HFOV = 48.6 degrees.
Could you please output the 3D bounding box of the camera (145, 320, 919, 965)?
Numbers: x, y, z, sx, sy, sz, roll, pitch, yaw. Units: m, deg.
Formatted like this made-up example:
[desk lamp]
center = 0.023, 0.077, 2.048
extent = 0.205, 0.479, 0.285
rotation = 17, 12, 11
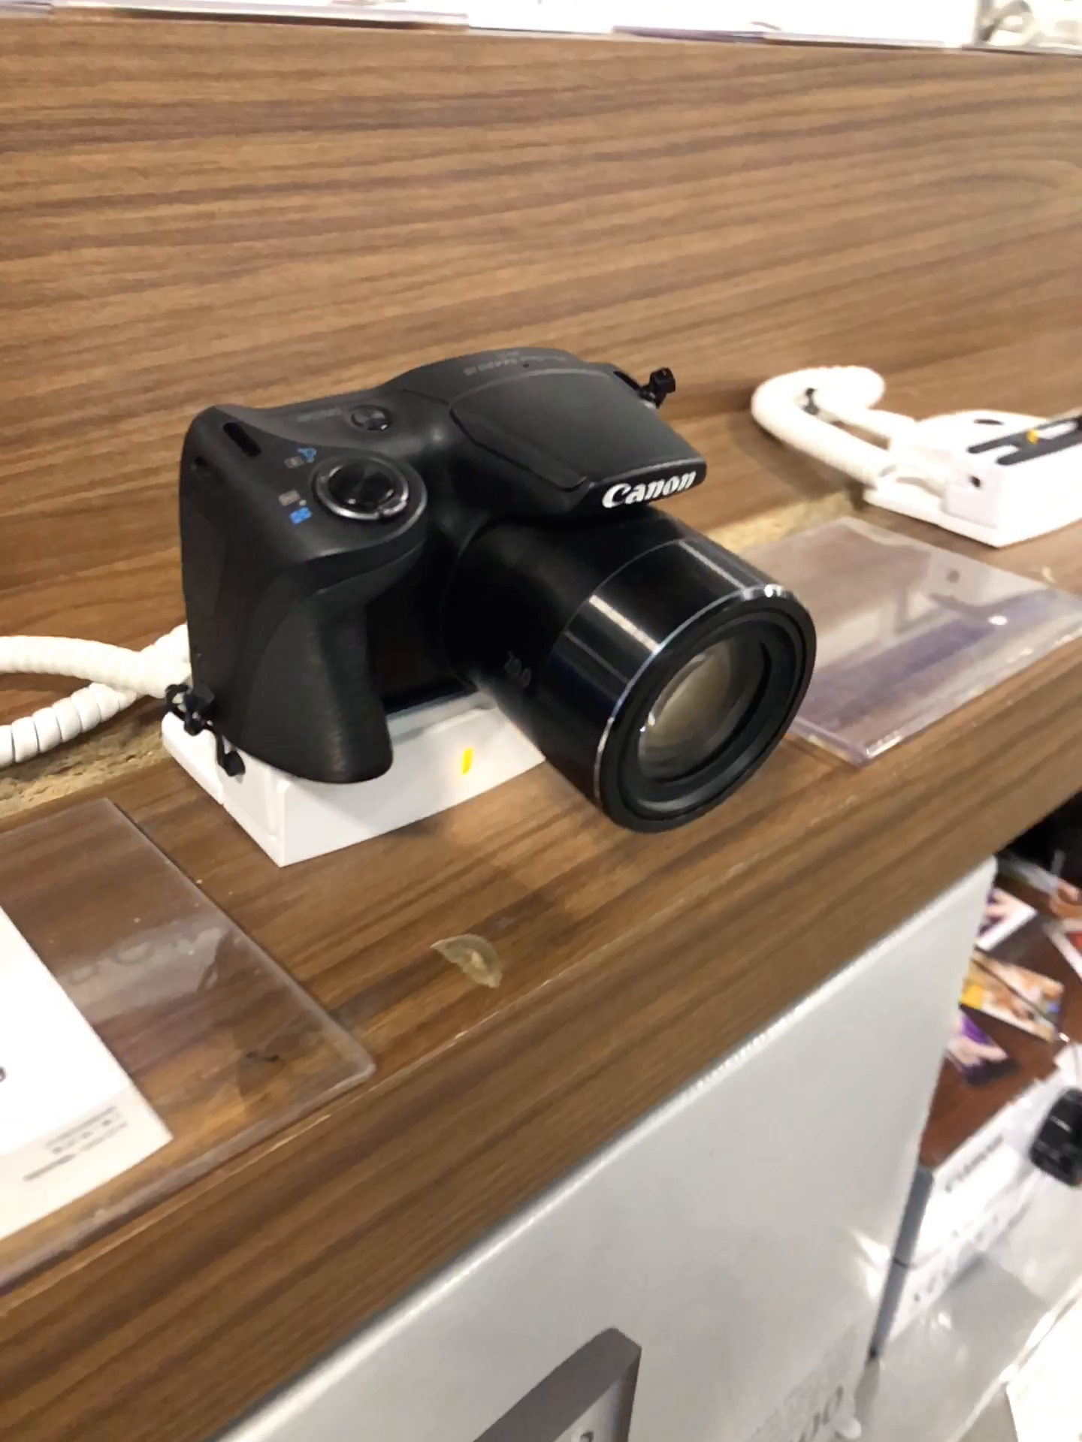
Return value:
[camera]
center = -0.003, -0.026, 0.225
extent = 0.100, 0.070, 0.090
rotation = -22, 38, -36
